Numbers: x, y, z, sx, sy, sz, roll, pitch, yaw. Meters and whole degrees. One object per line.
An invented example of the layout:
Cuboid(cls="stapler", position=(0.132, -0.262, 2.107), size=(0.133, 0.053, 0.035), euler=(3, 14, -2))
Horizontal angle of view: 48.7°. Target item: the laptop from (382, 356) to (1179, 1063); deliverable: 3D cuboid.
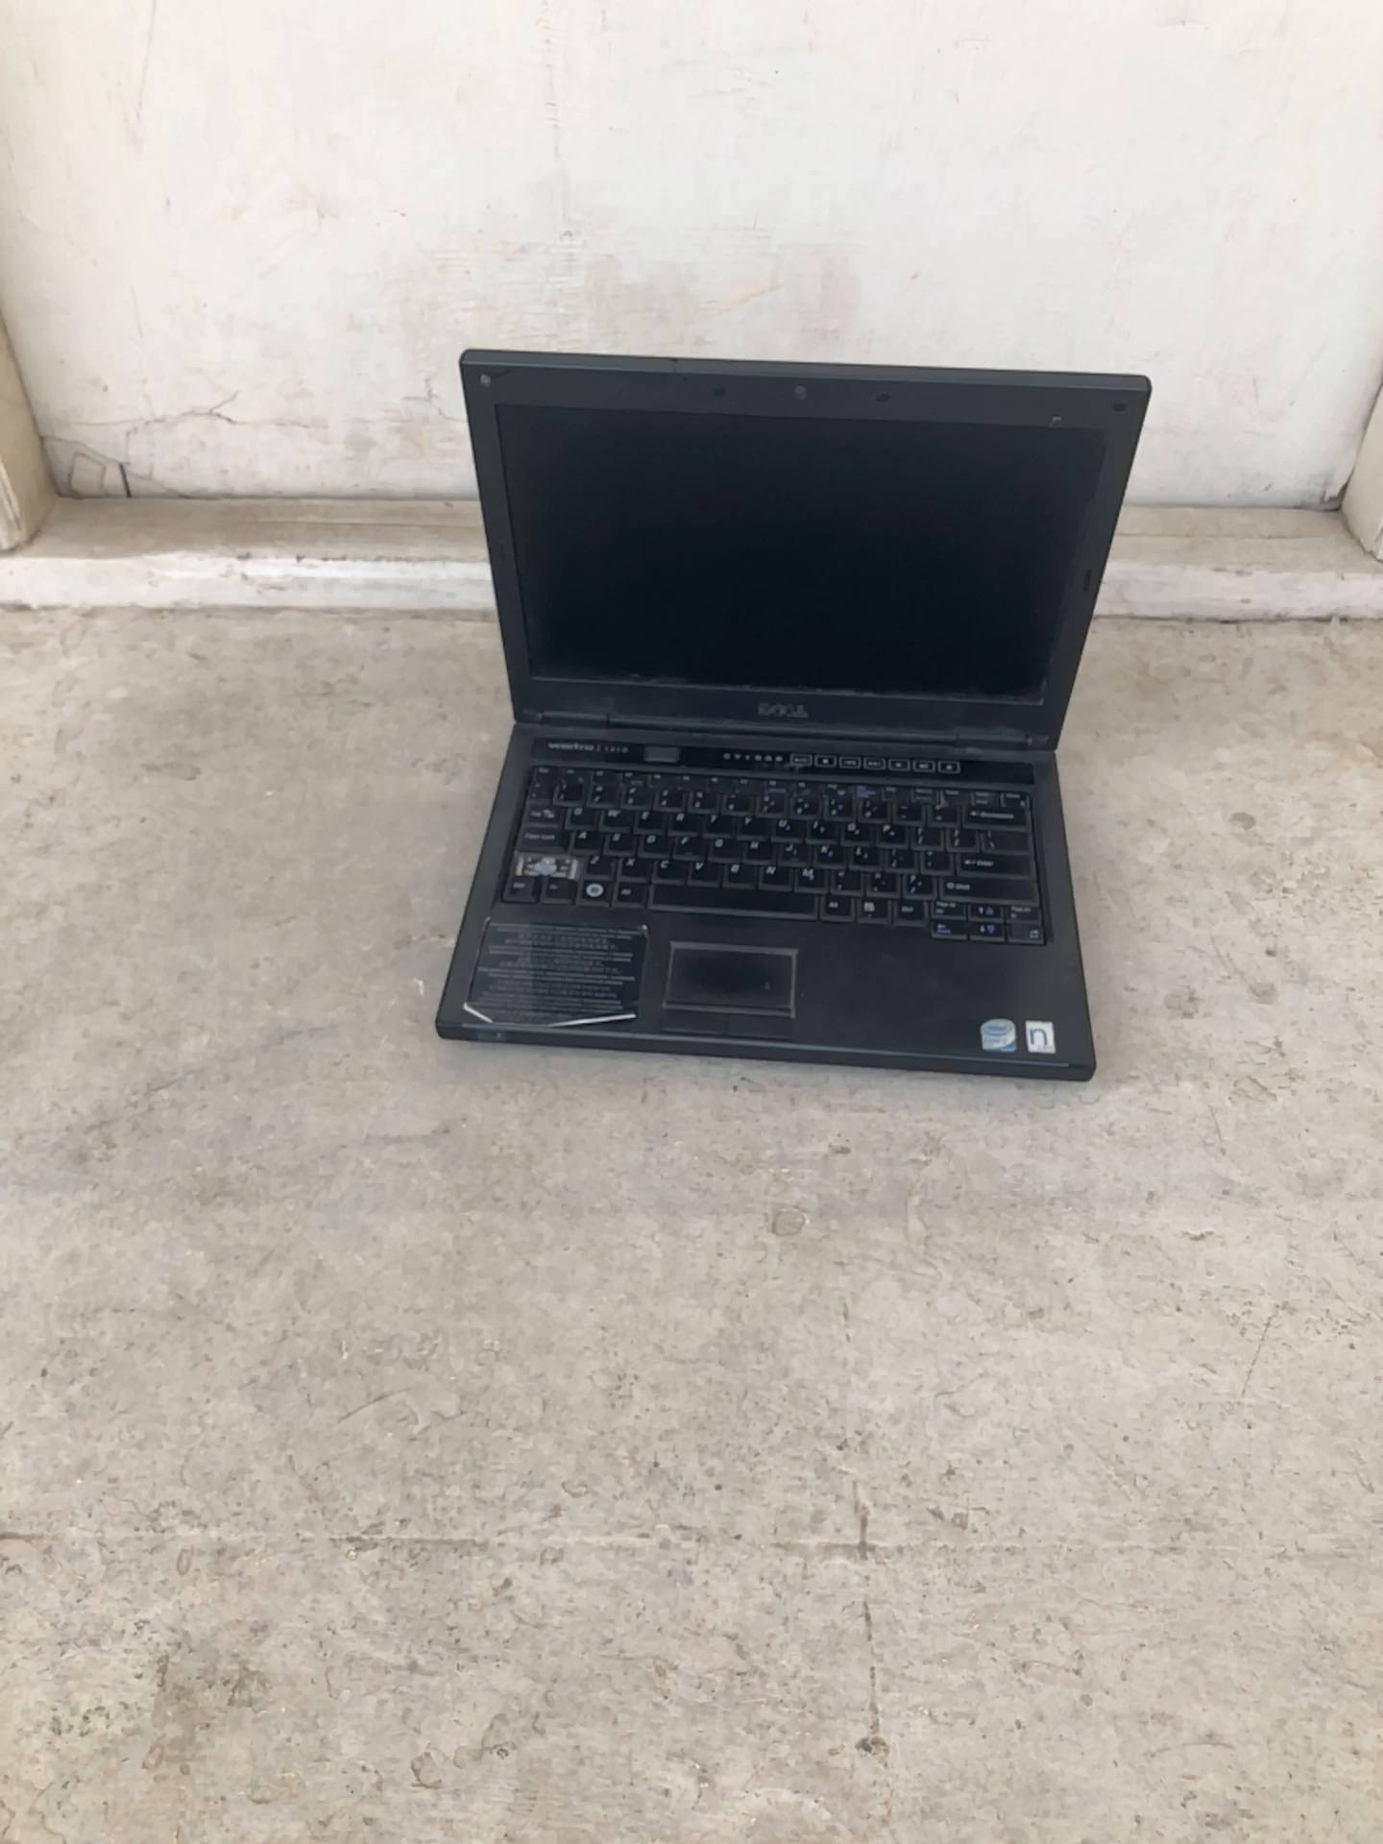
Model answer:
Cuboid(cls="laptop", position=(0.039, -0.100, 0.710), size=(0.292, 0.218, 0.215), euler=(3, 47, 4))
